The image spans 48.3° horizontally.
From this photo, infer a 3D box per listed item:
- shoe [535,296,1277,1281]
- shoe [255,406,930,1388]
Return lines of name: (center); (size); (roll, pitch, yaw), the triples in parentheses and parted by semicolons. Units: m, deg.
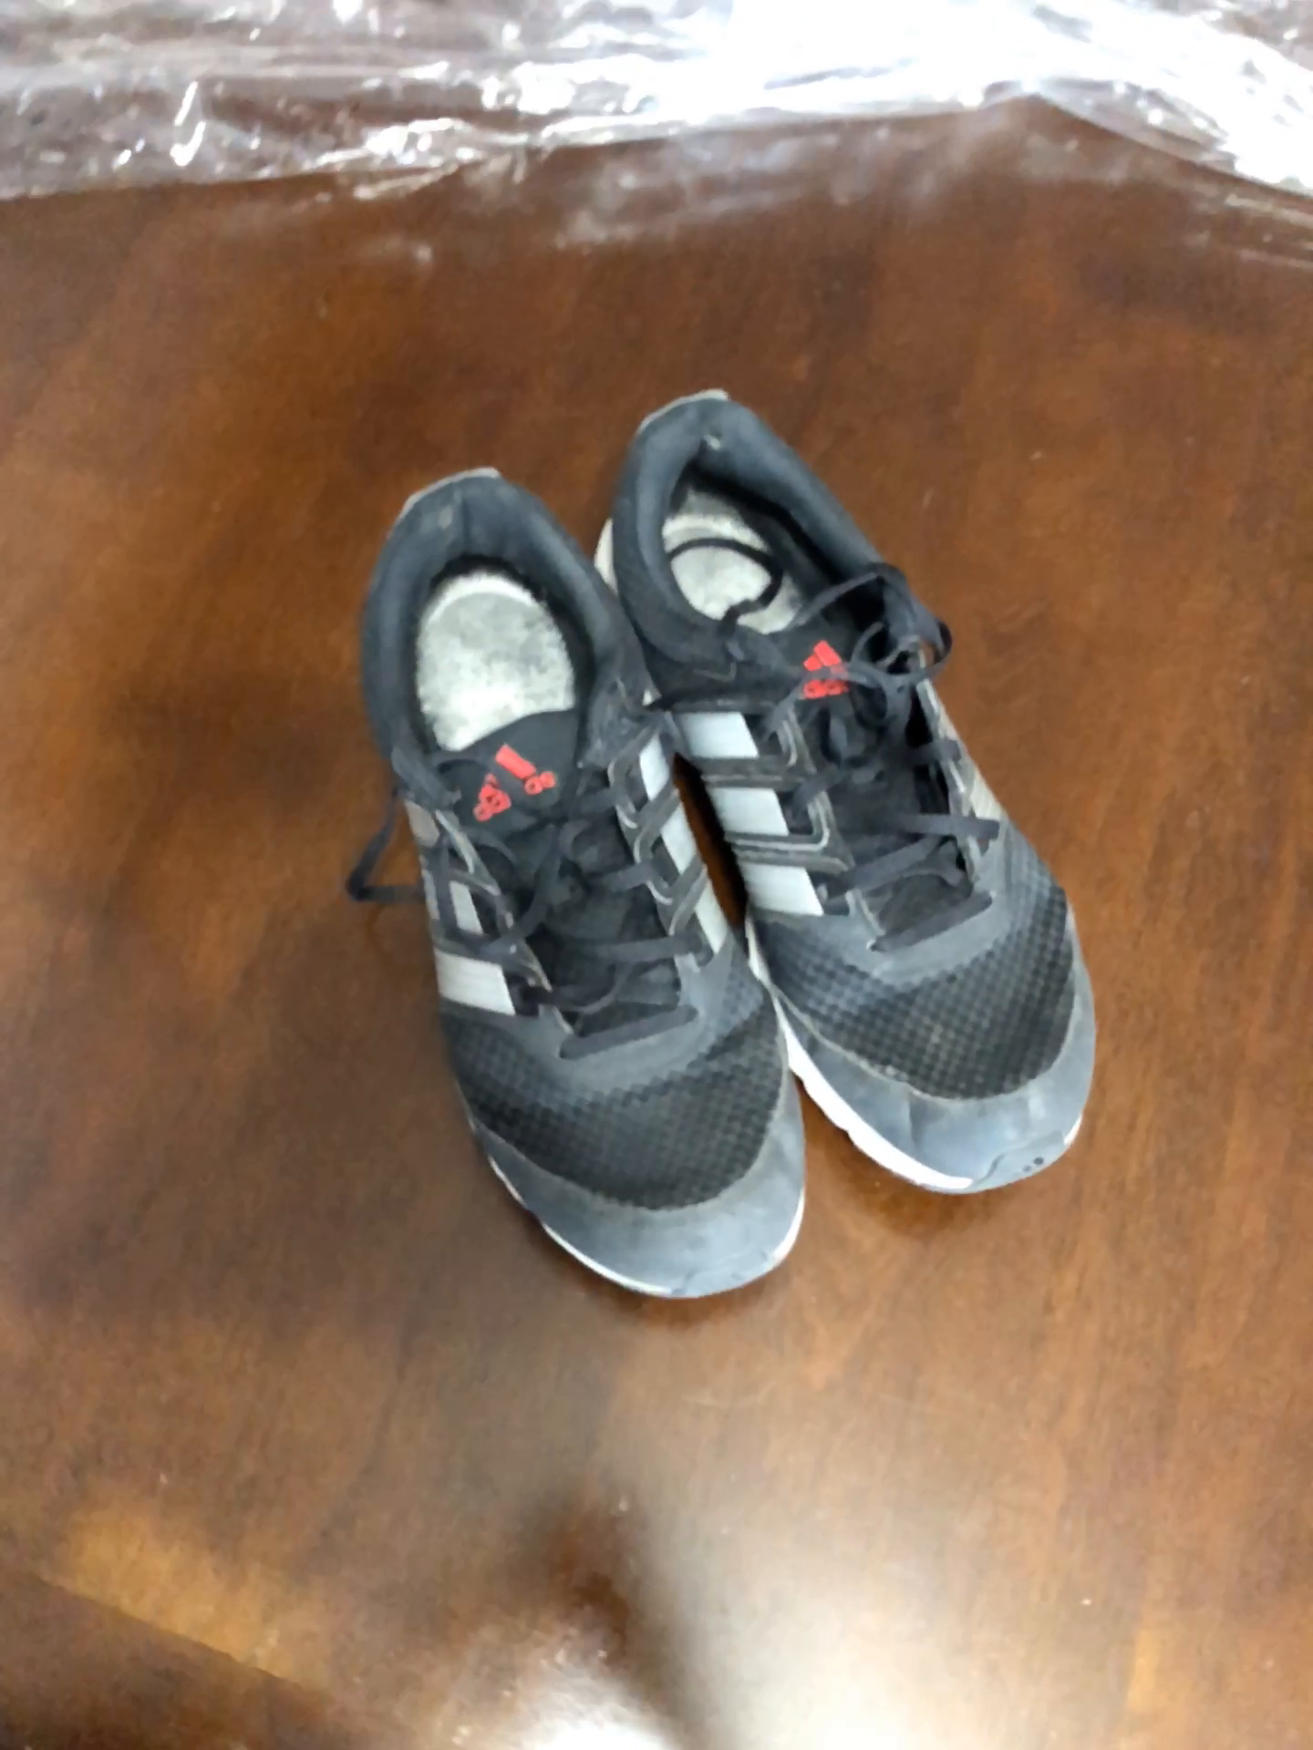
shoe: (0.063, -0.032, 0.503); (0.120, 0.130, 0.290); (-17, 67, -9)
shoe: (-0.031, 0.004, 0.500); (0.120, 0.120, 0.290); (-17, 67, -9)
